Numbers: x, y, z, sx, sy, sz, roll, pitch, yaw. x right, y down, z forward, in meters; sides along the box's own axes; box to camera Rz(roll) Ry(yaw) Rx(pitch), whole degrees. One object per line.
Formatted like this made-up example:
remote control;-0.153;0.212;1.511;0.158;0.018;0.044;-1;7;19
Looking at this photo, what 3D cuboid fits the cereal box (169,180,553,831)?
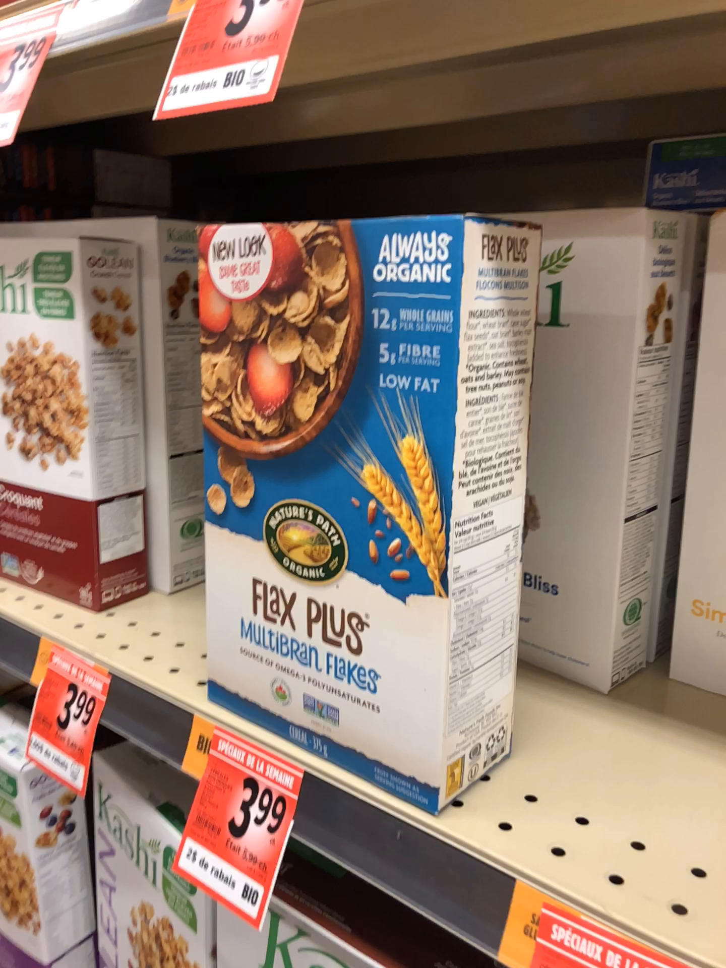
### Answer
cereal box;-0.008;0.000;0.398;0.170;0.269;0.070;12;19;39
